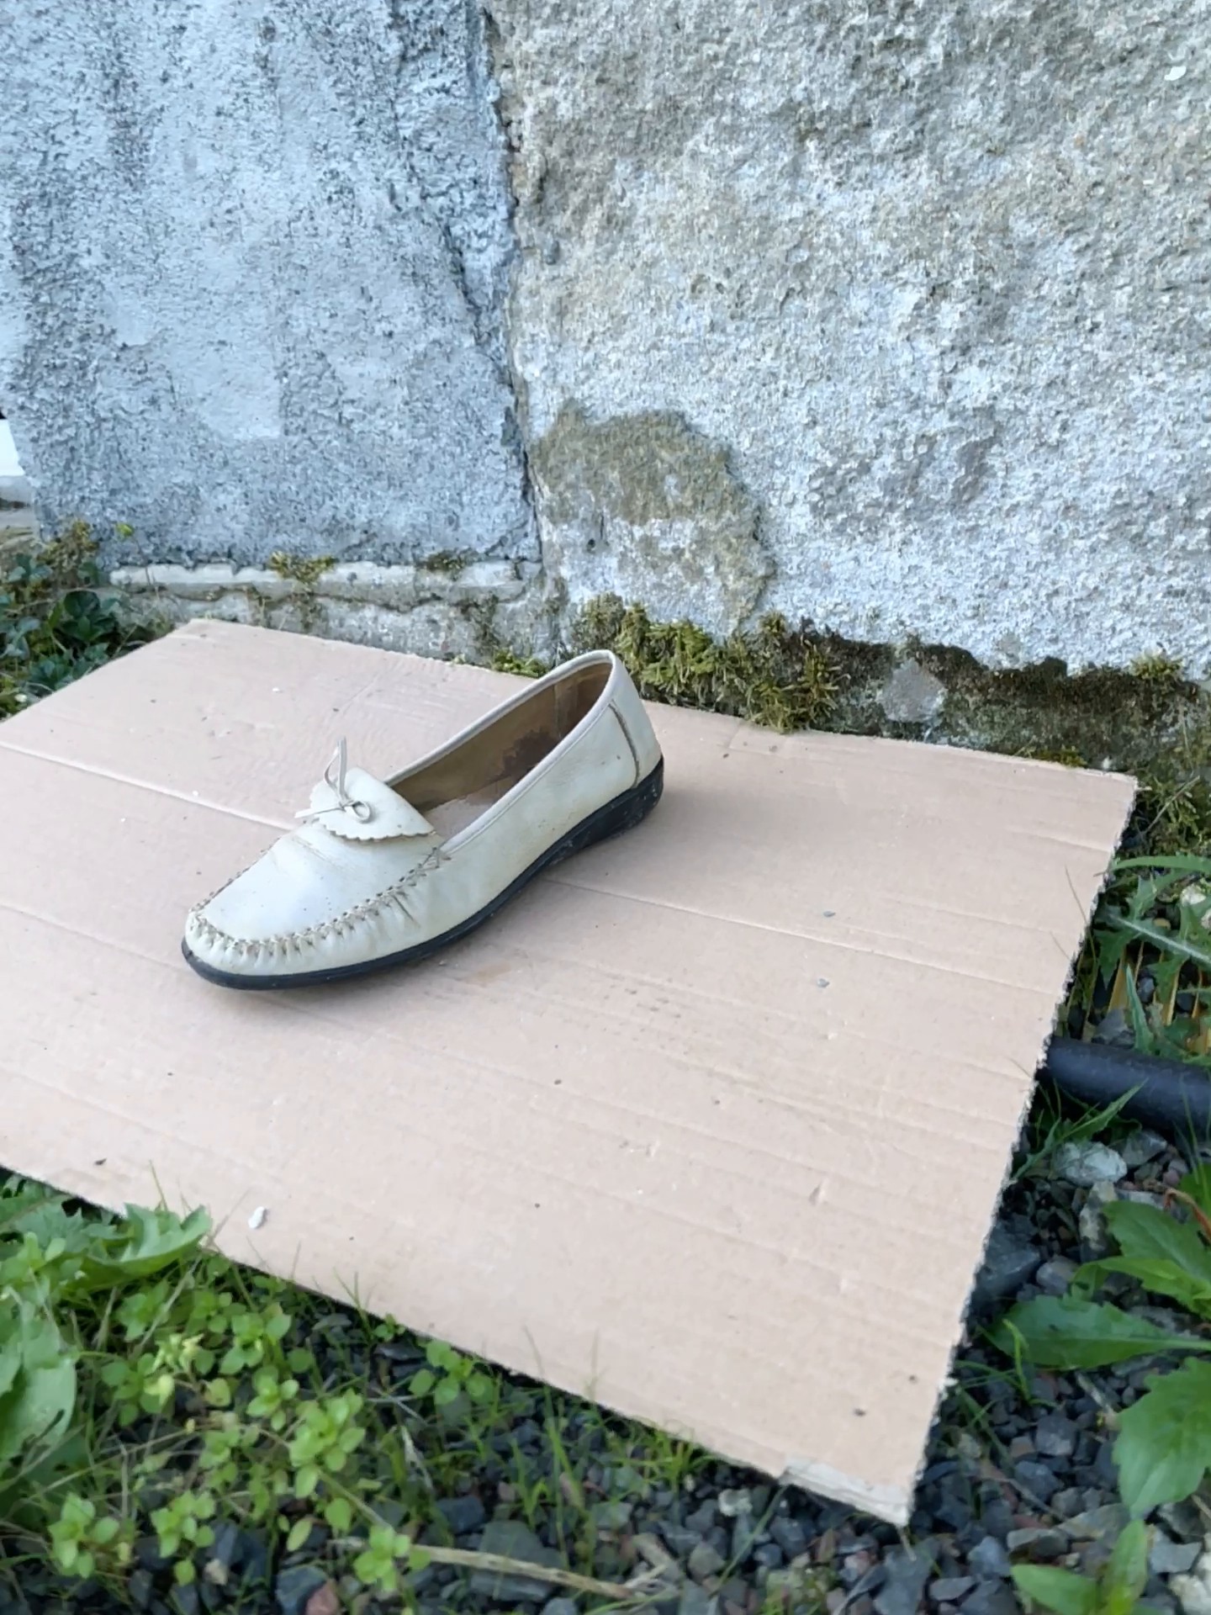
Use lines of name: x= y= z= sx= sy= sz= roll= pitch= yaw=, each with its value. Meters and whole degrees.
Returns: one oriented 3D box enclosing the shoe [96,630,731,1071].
shoe: x=-0.076 y=0.005 z=0.606 sx=0.261 sy=0.080 sz=0.100 roll=-26 pitch=30 yaw=-30
